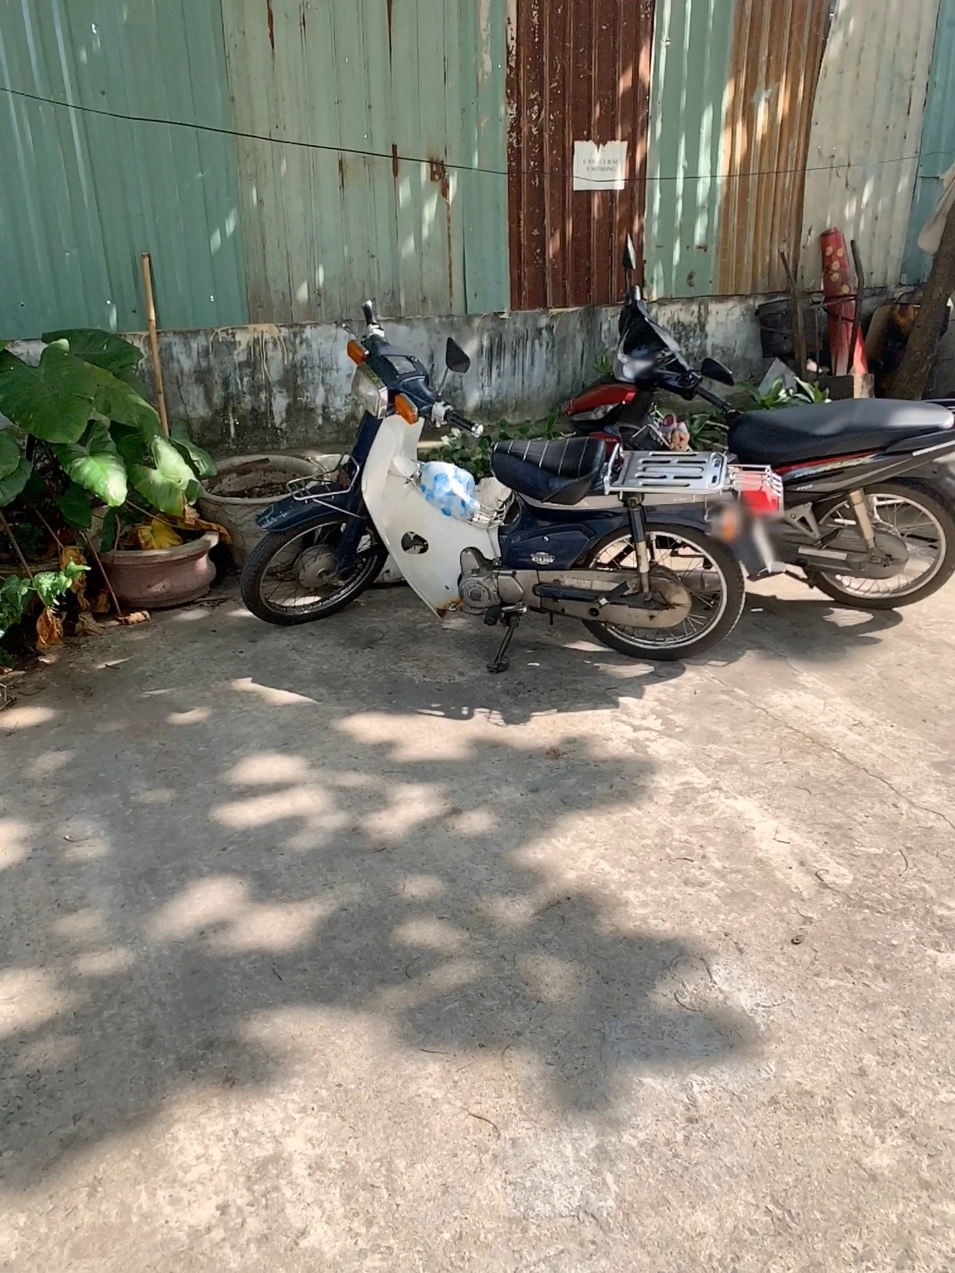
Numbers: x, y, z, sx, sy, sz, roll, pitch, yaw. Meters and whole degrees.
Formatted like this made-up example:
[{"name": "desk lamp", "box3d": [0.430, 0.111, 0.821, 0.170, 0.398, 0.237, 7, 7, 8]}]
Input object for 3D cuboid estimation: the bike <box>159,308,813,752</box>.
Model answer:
[{"name": "bike", "box3d": [0.020, -0.297, 2.693, 1.474, 1.024, 0.656, 0, 24, 6]}]
